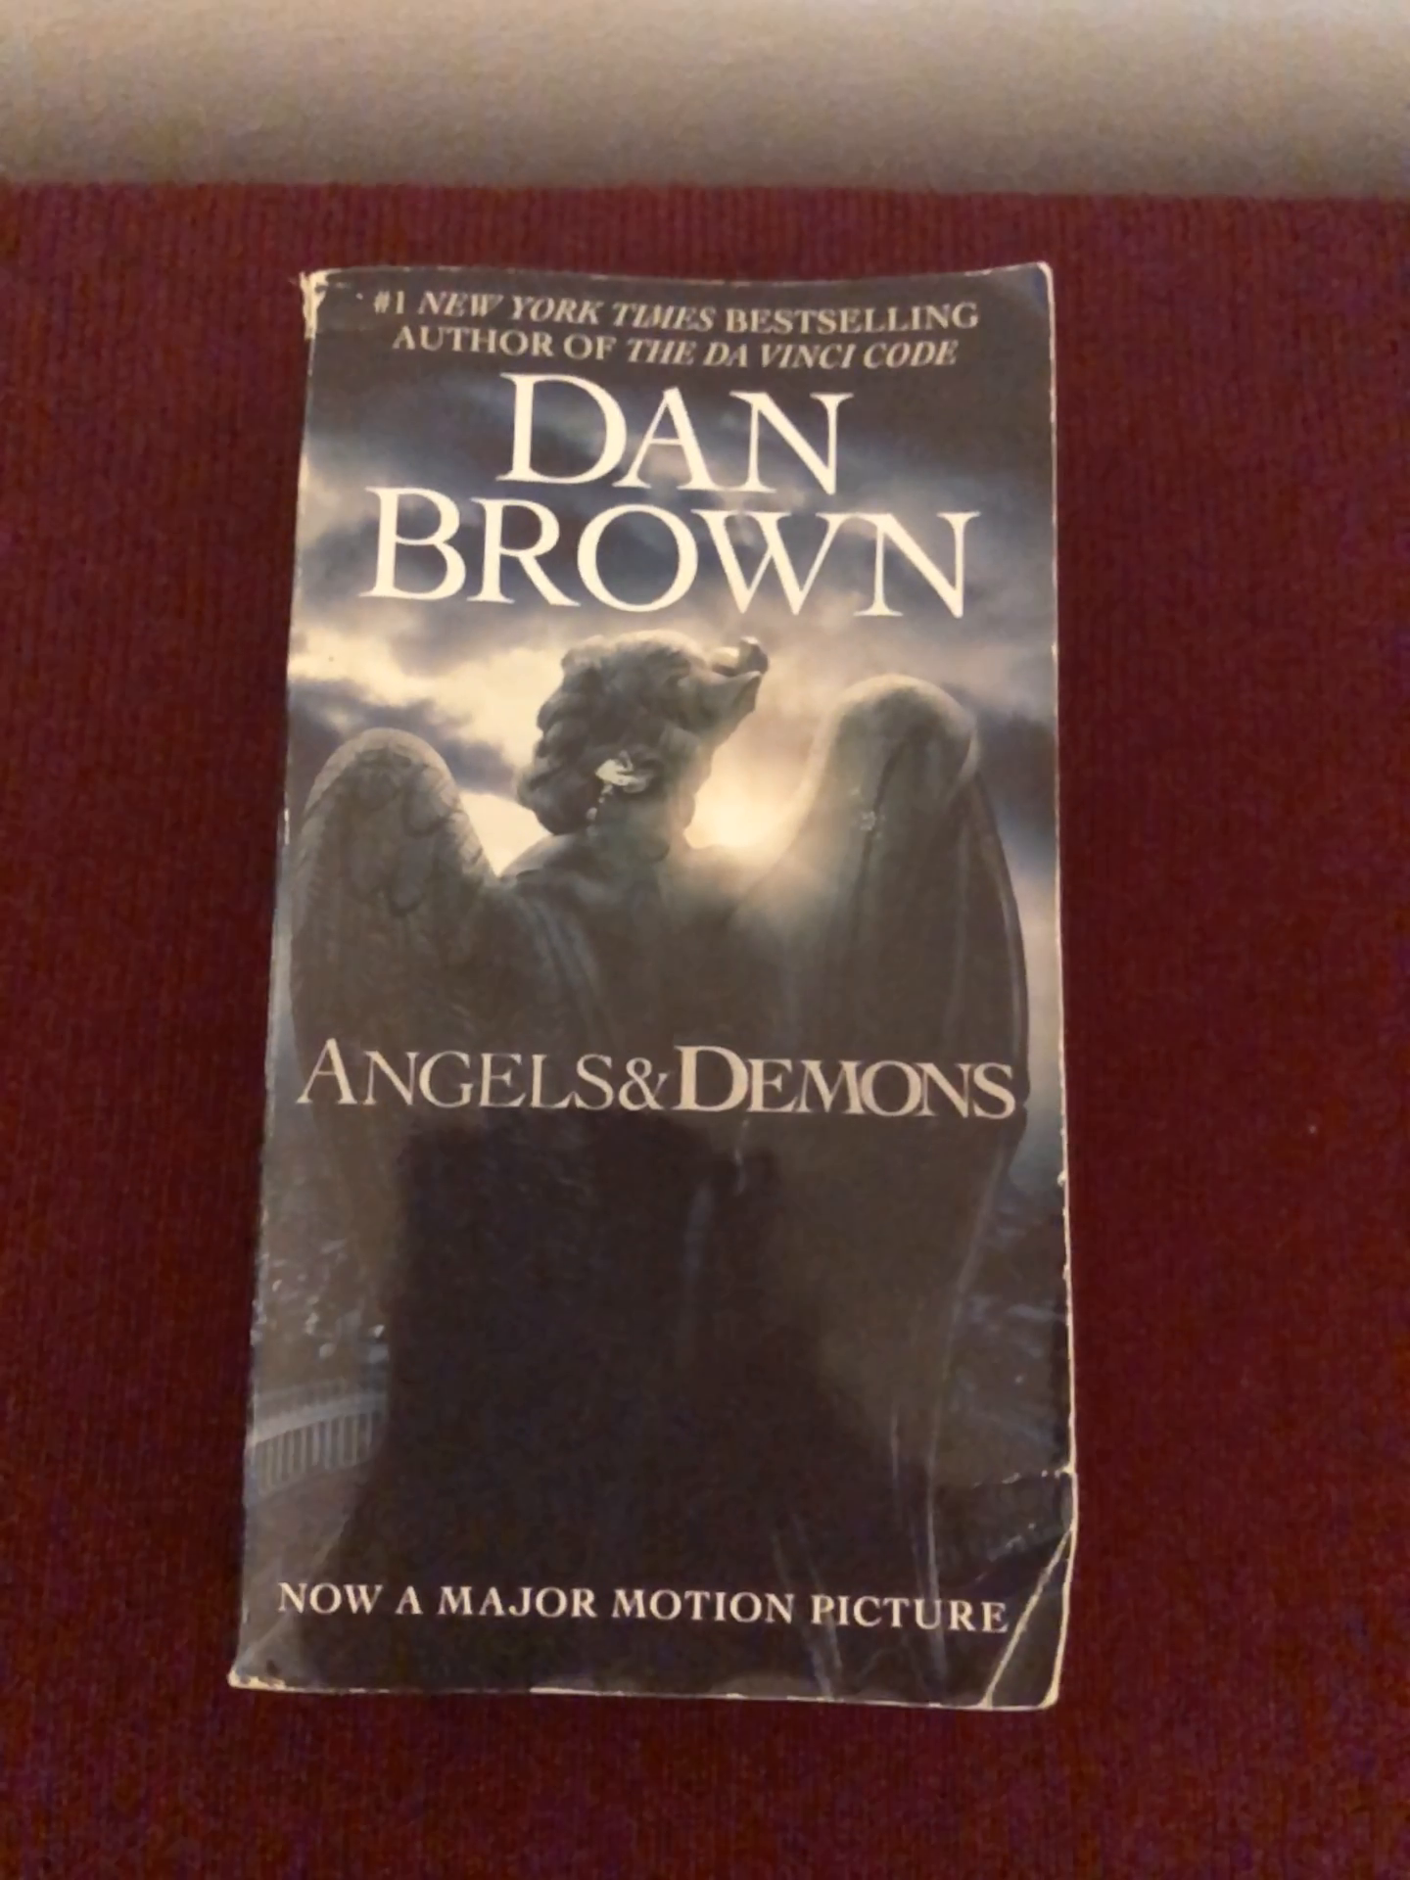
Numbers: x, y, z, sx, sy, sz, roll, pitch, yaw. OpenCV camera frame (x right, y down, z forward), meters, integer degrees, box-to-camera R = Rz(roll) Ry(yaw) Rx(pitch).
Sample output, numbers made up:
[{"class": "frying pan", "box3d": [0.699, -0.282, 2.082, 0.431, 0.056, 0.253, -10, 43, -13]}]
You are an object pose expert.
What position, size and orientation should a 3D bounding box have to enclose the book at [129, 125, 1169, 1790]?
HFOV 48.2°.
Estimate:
[{"class": "book", "box3d": [-0.006, -0.004, 0.218, 0.120, 0.040, 0.210, 0, 81, 1]}]
